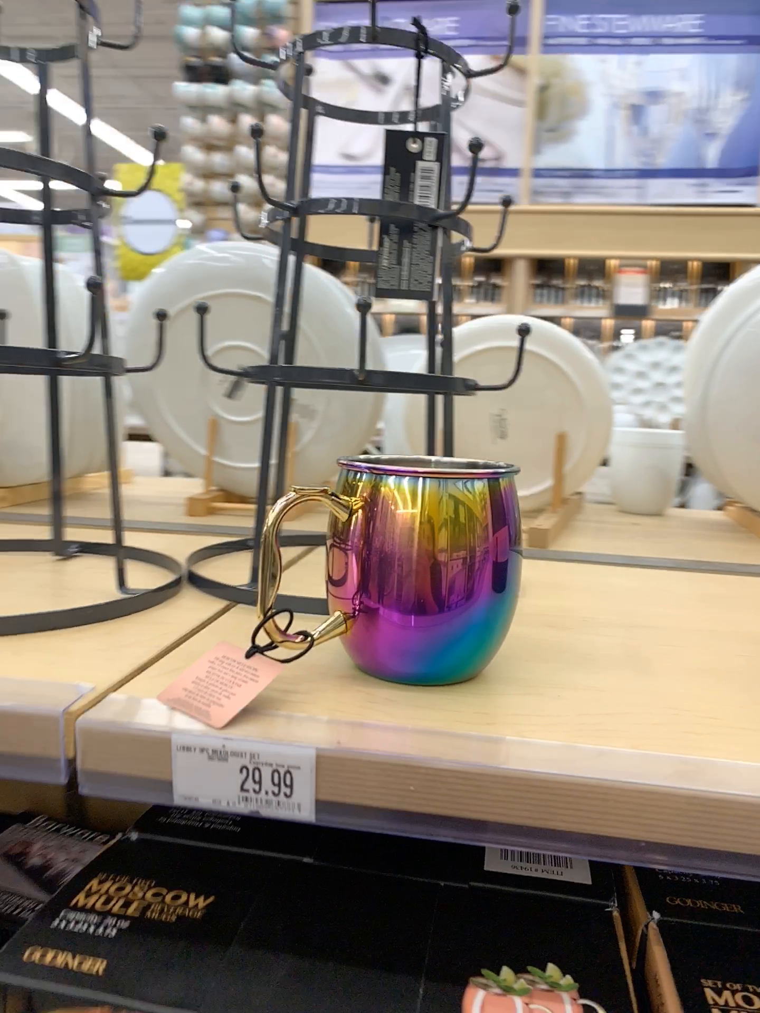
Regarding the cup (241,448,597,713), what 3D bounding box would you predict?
[{"bbox_3d":[0.016,0.022,0.352,0.130,0.089,0.085,-3,10,-32],"label":"cup"}]
